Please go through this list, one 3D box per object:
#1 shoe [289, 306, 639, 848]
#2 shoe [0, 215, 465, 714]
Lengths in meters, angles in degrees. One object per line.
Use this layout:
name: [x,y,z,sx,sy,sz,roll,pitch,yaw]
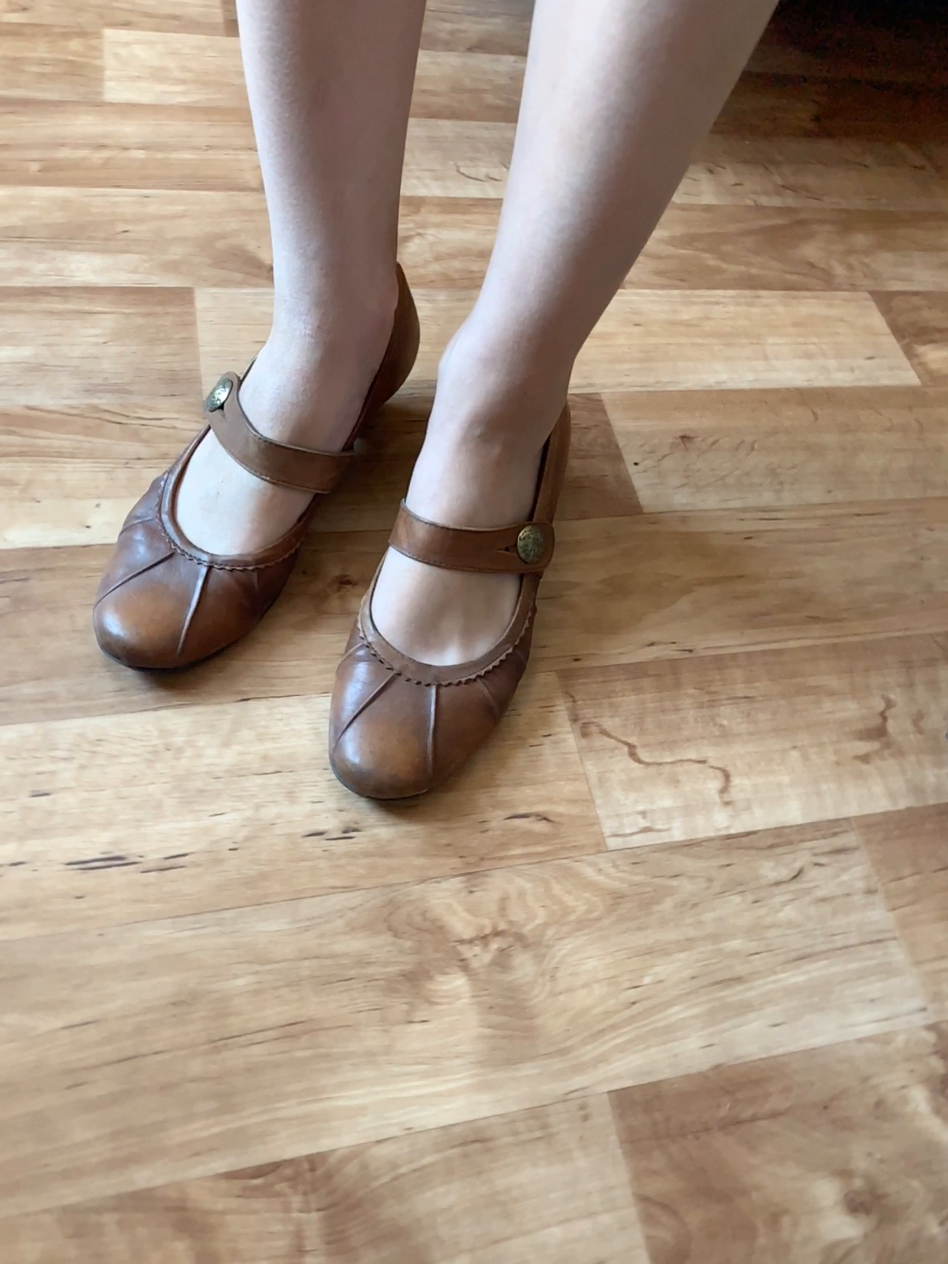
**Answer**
shoe: [0.001,-0.037,0.481,0.090,0.090,0.251,20,56,2]
shoe: [-0.107,-0.095,0.496,0.090,0.090,0.251,27,57,7]
